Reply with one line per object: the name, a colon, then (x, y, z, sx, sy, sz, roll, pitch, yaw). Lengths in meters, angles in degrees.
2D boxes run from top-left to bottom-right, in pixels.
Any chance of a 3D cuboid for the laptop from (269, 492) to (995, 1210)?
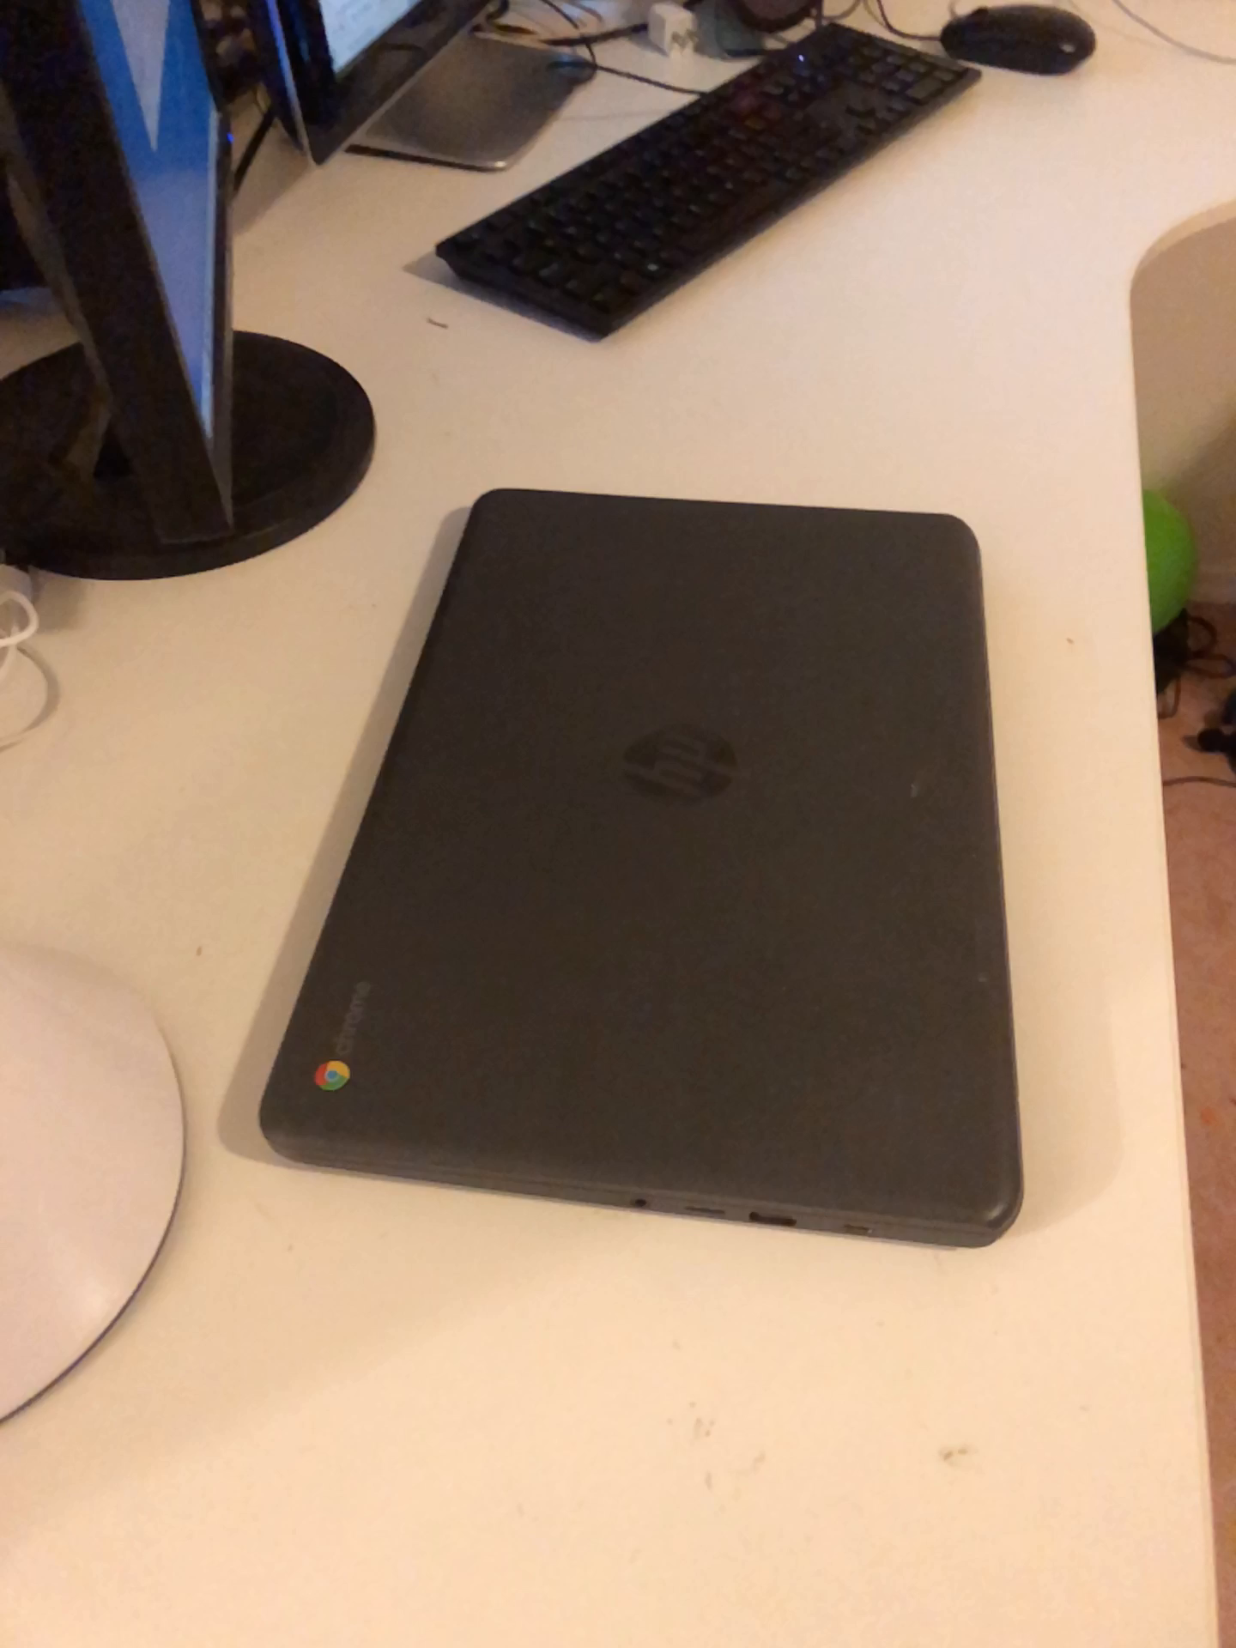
laptop: (0.023, -0.021, 0.495, 0.208, 0.001, 0.328, 5, 48, 5)
